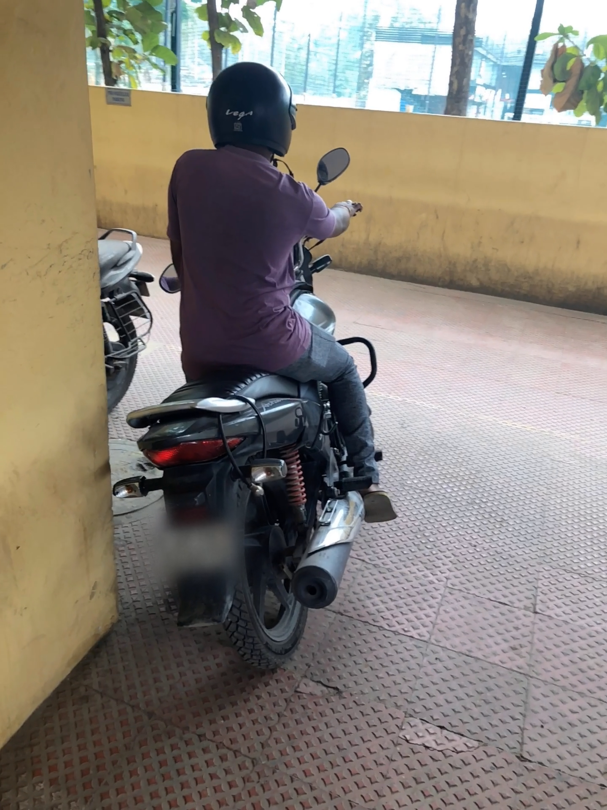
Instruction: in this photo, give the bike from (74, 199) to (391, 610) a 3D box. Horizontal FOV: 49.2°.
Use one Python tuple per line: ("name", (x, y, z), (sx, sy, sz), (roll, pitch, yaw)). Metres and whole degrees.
("bike", (-0.135, -0.127, 2.320), (0.699, 1.000, 1.244), (8, 23, 7))
